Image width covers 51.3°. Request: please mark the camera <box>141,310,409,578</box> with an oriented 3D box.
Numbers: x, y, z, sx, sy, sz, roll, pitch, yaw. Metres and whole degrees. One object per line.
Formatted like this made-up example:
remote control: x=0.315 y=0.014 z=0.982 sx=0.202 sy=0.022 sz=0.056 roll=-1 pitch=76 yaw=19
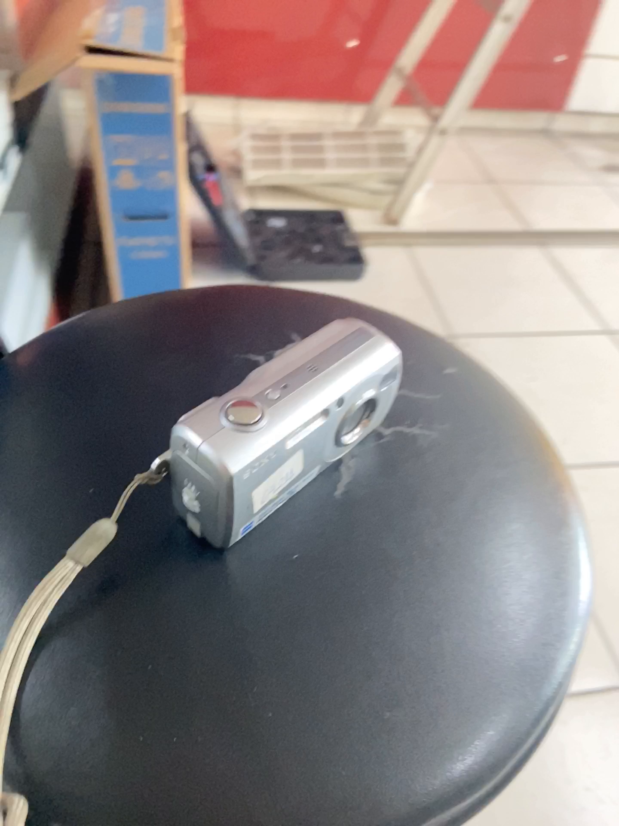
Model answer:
camera: x=-0.011 y=0.008 z=0.254 sx=0.040 sy=0.050 sz=0.100 roll=35 pitch=50 yaw=25
